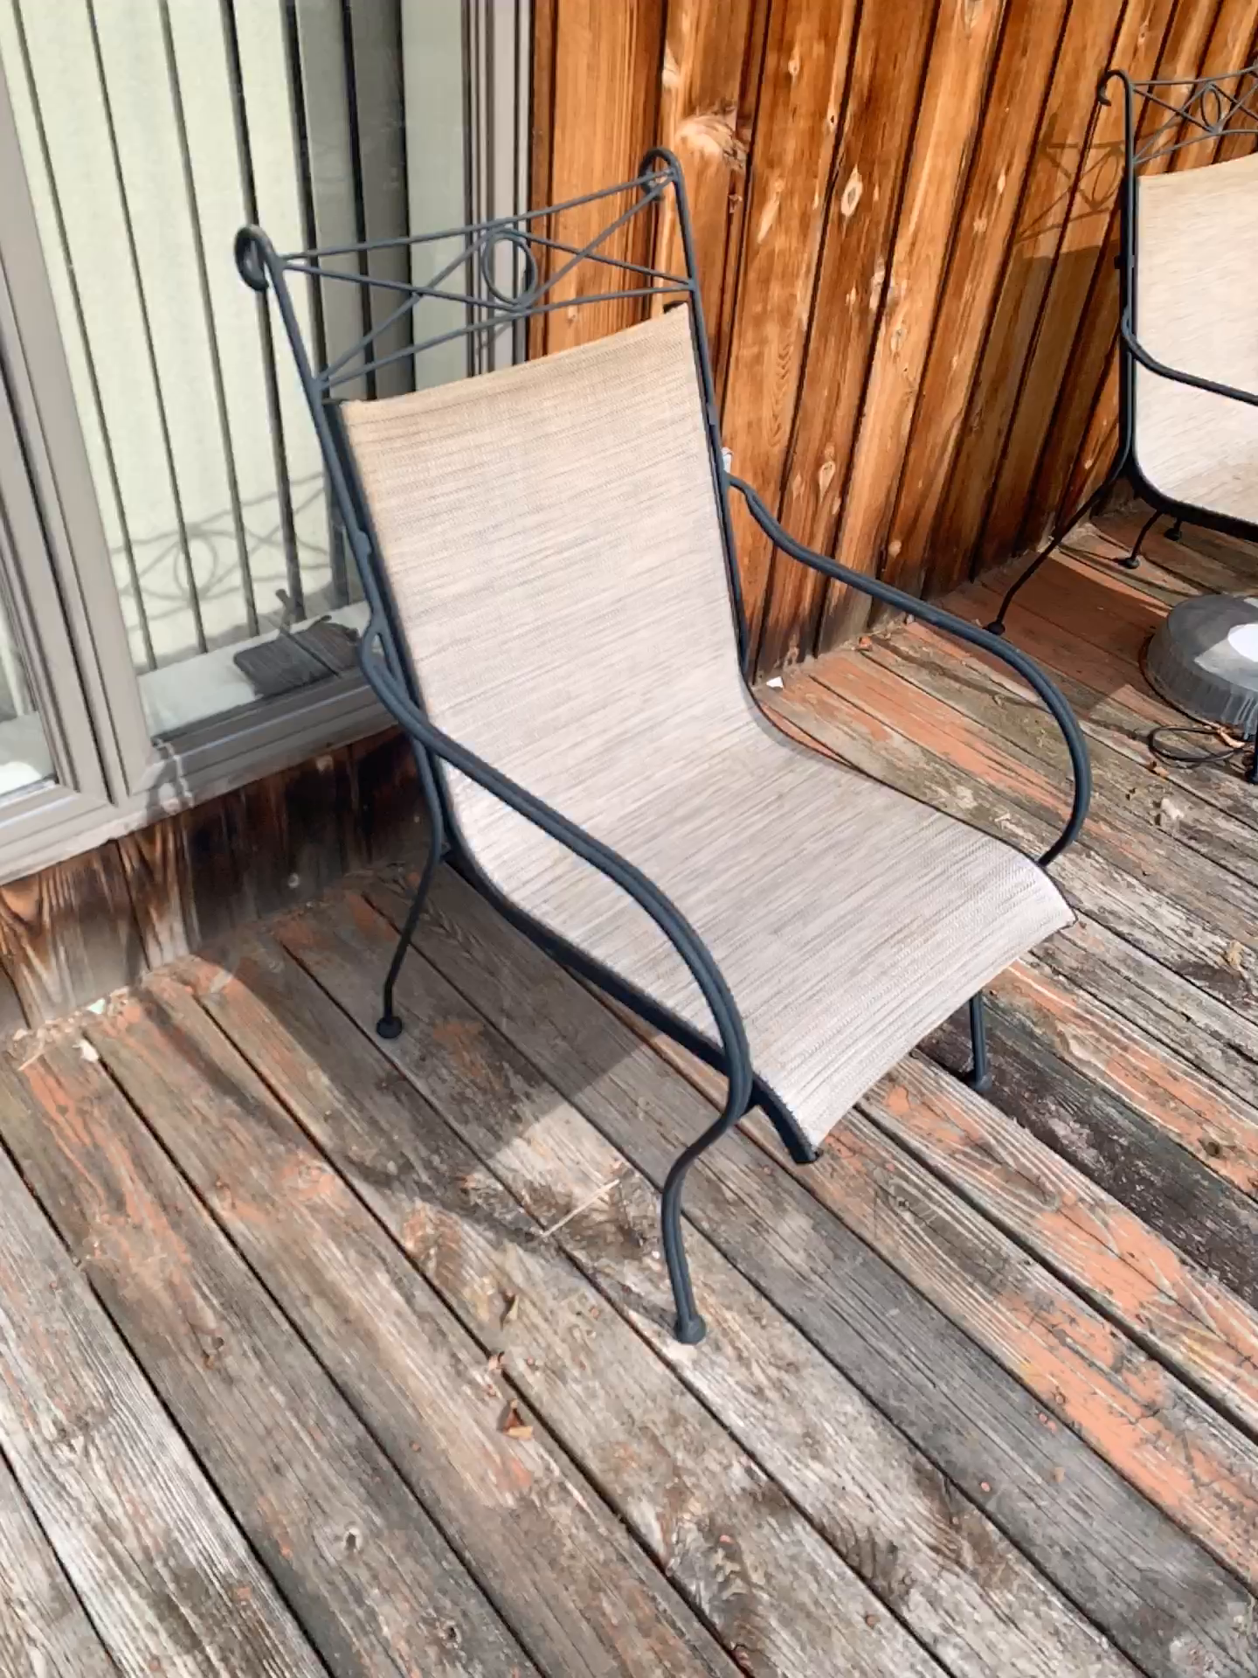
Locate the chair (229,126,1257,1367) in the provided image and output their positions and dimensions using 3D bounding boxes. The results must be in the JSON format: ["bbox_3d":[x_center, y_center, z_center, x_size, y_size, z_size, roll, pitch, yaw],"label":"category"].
[{"bbox_3d":[0.094,-0.114,1.325,0.612,0.945,0.652,-31,52,-34],"label":"chair"}]
